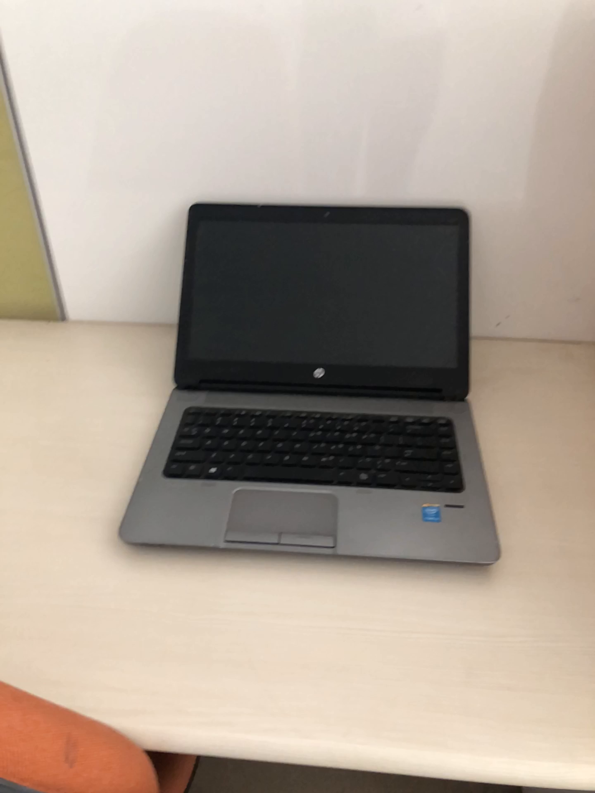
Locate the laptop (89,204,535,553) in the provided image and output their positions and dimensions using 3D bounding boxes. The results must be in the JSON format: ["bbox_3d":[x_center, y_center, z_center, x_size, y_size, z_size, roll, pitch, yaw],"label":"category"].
[{"bbox_3d":[0.022,-0.050,0.665,0.322,0.148,0.379,2,37,4],"label":"laptop"}]
